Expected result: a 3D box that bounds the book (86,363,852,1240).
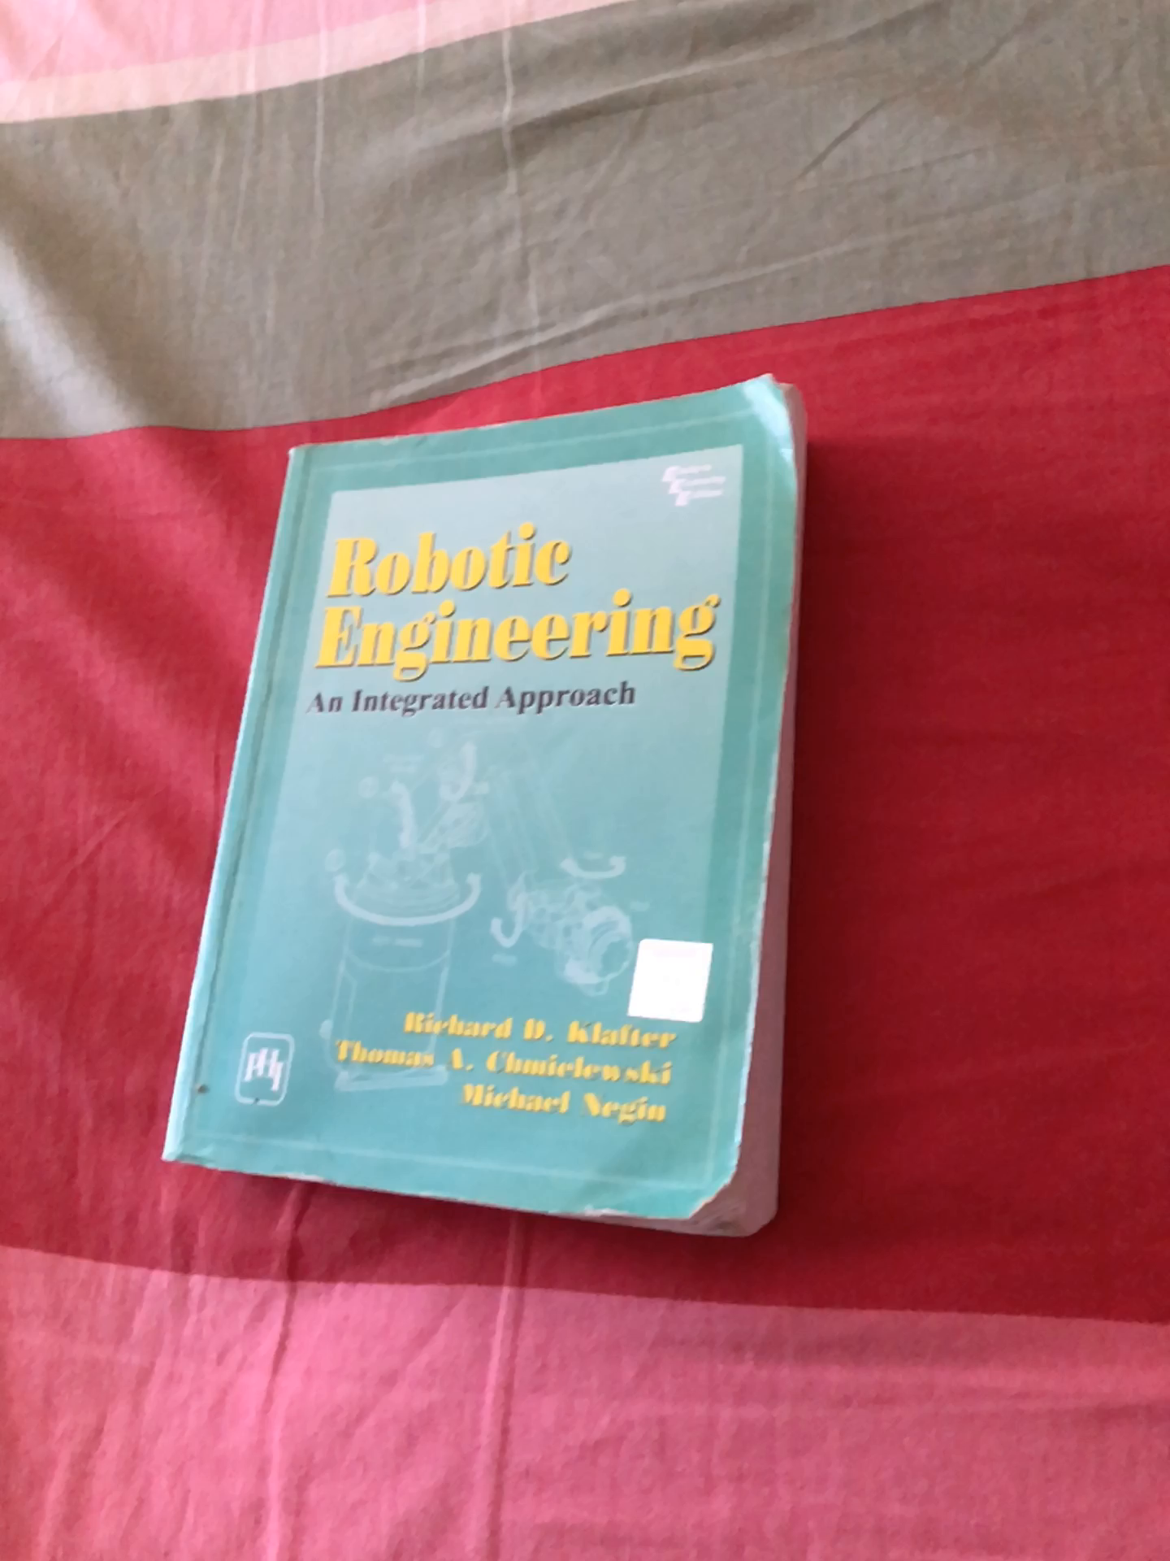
[{"bbox_3d":[-0.024,0.002,0.338,0.172,0.043,0.205,-1,71,21],"label":"book"}]
